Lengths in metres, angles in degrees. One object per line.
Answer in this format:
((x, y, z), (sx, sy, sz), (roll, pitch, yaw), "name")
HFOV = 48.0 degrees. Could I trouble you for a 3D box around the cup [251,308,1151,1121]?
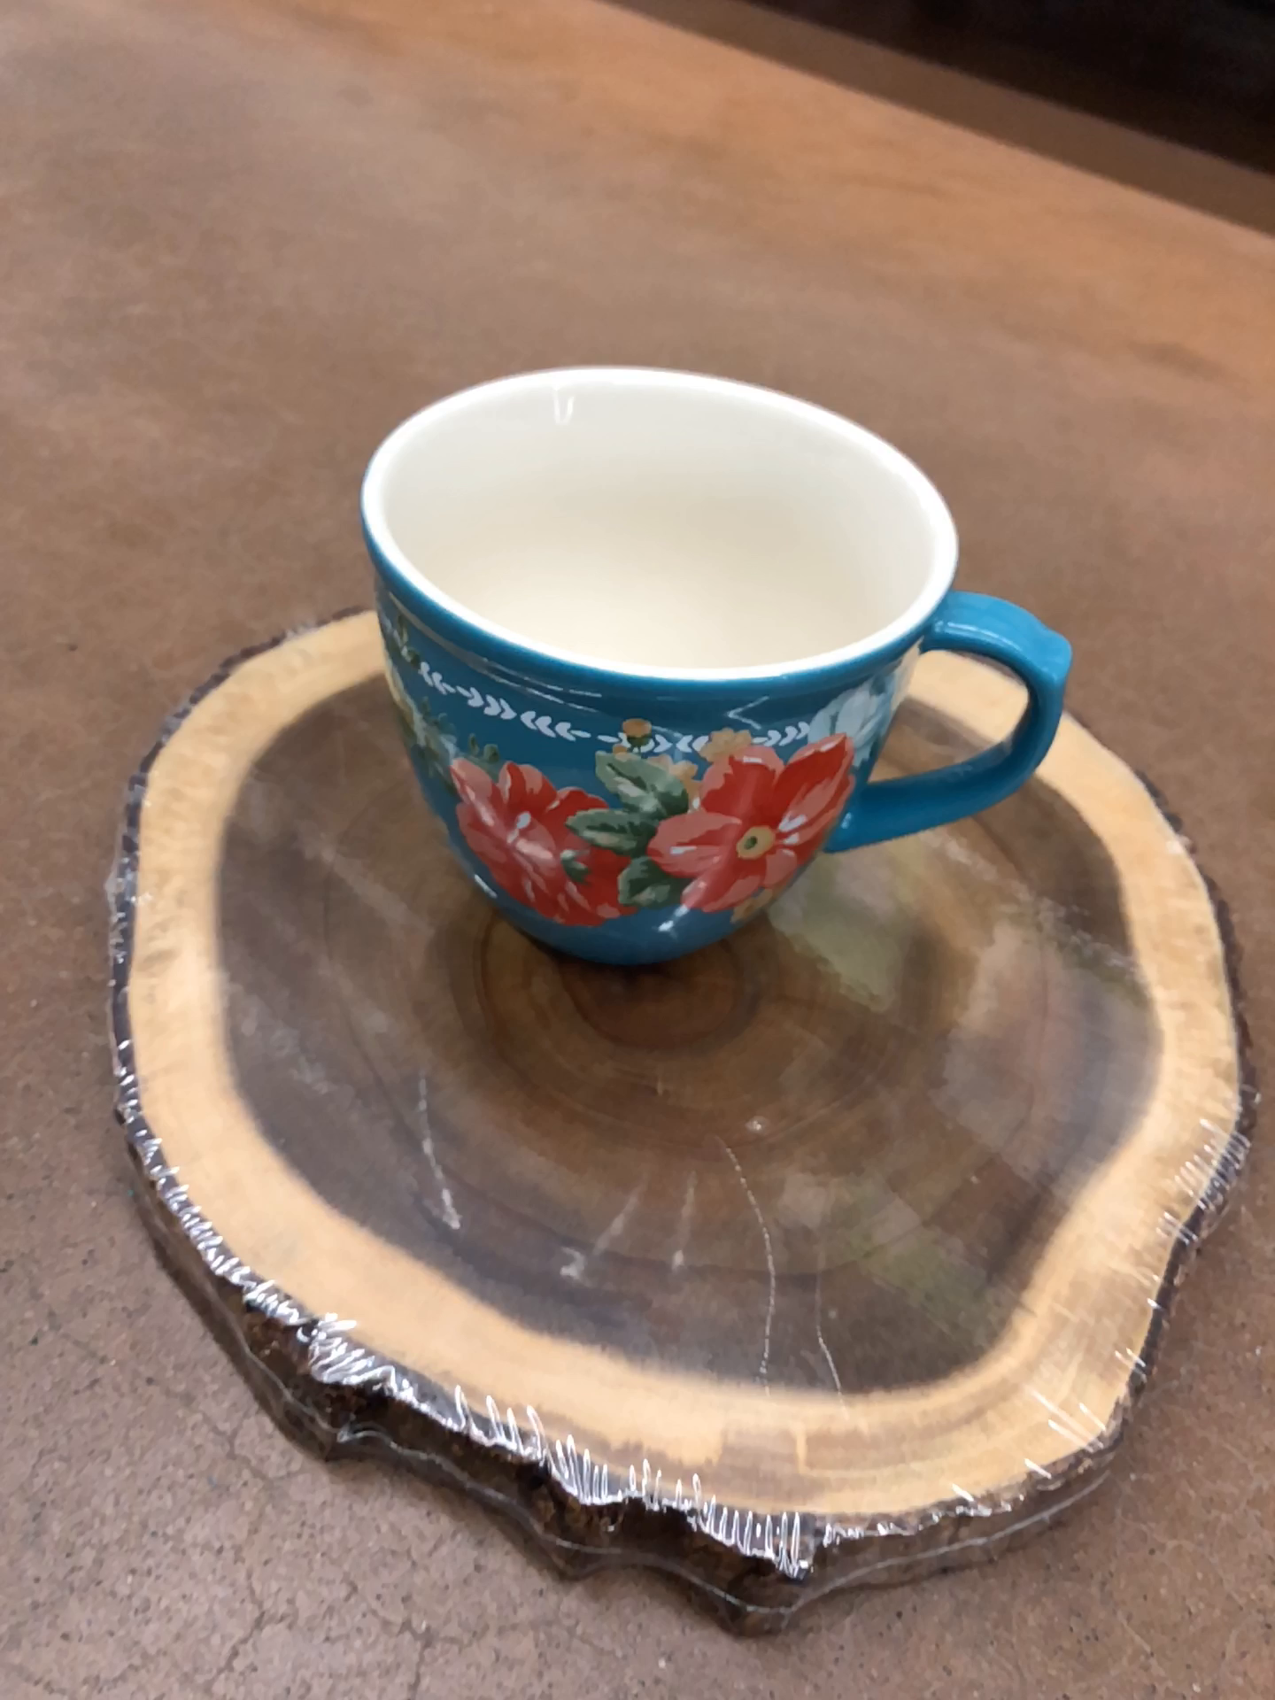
((0.015, -0.031, 0.270), (0.130, 0.080, 0.100), (17, 43, 11), "cup")
